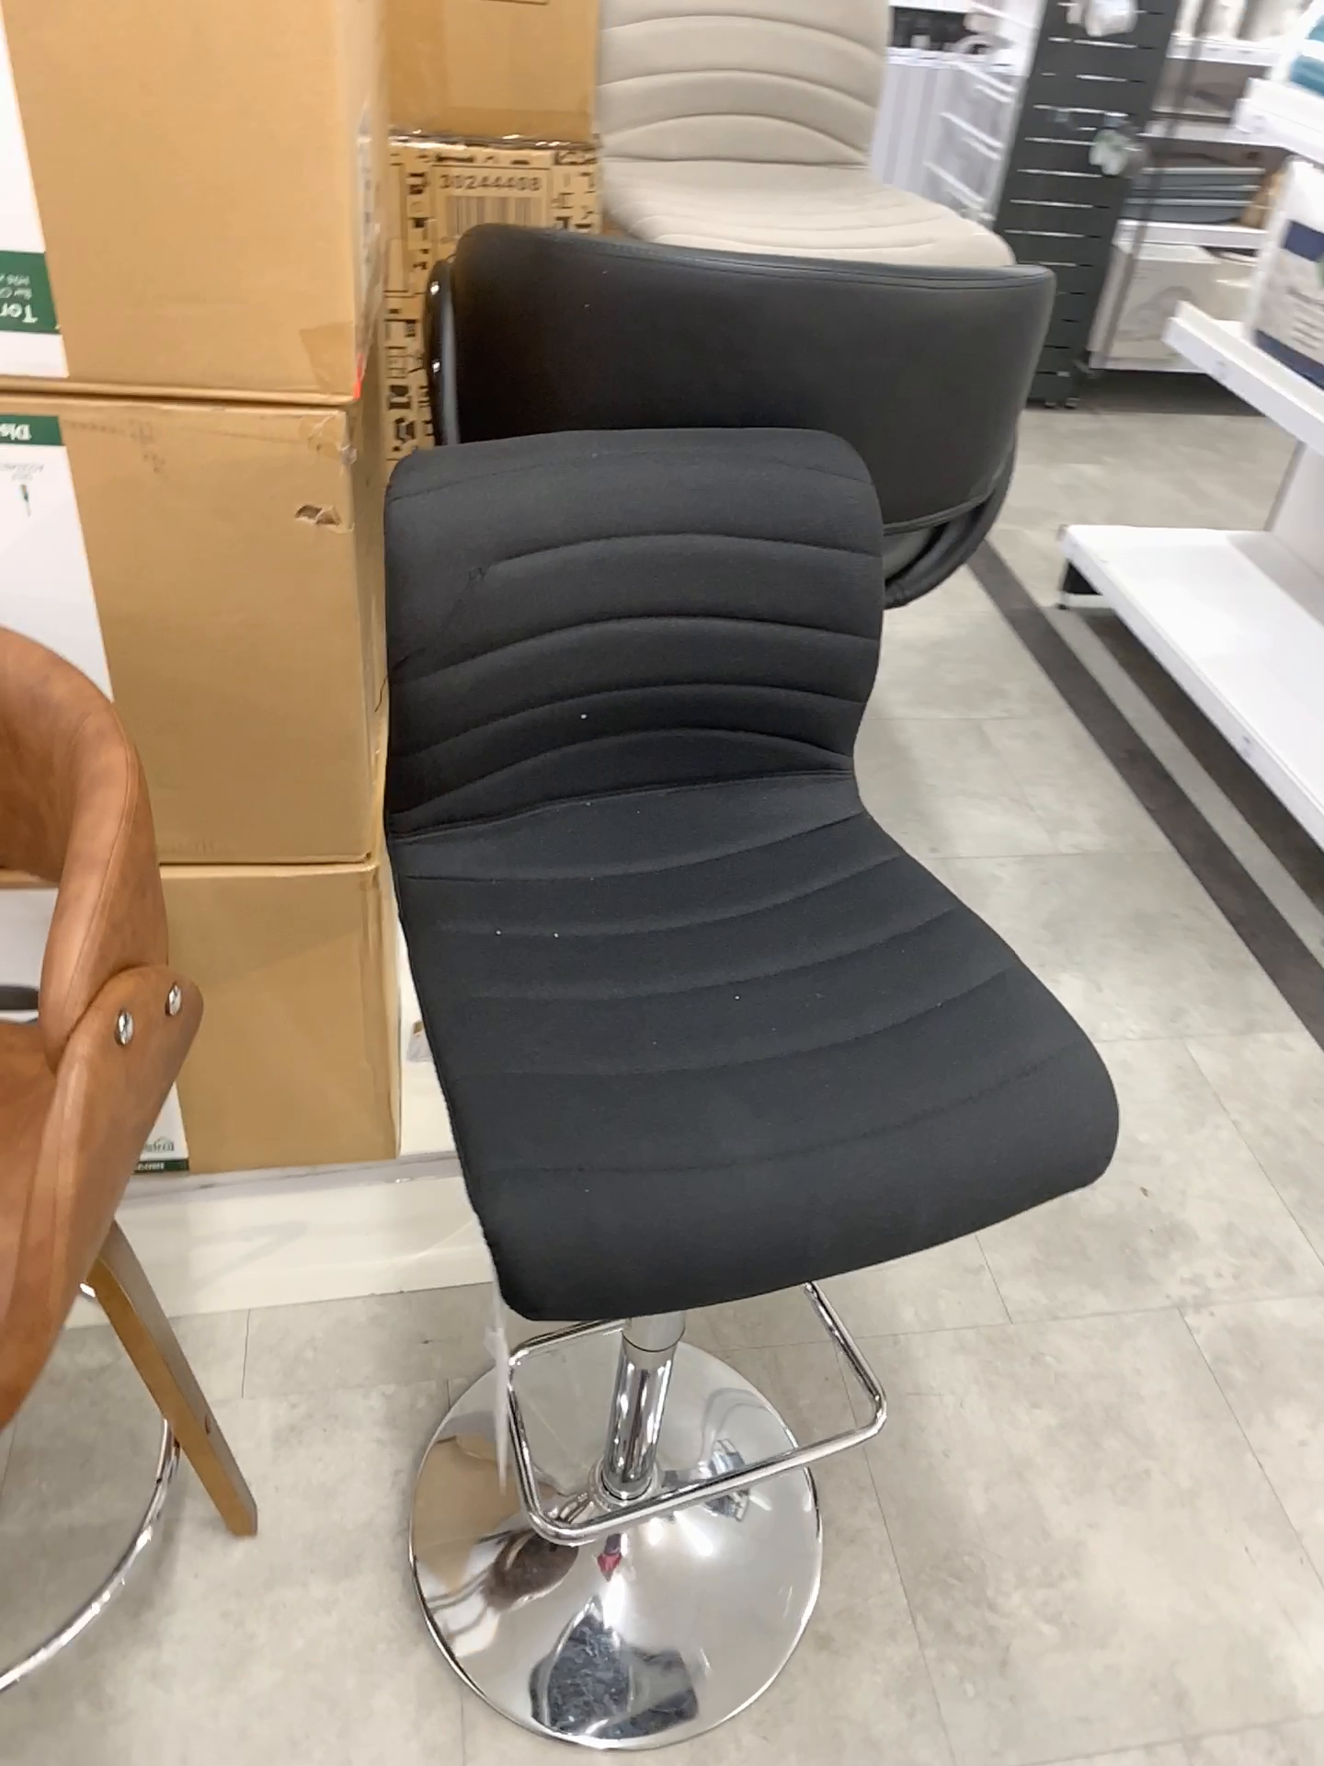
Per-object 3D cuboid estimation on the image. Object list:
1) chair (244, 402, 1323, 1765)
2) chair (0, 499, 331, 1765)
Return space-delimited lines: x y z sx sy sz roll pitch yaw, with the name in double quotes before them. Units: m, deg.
"chair" -0.006 0.221 1.033 0.454 0.994 0.472 -10 41 -20
"chair" -0.580 0.279 0.954 0.524 0.875 0.523 6 38 -2
